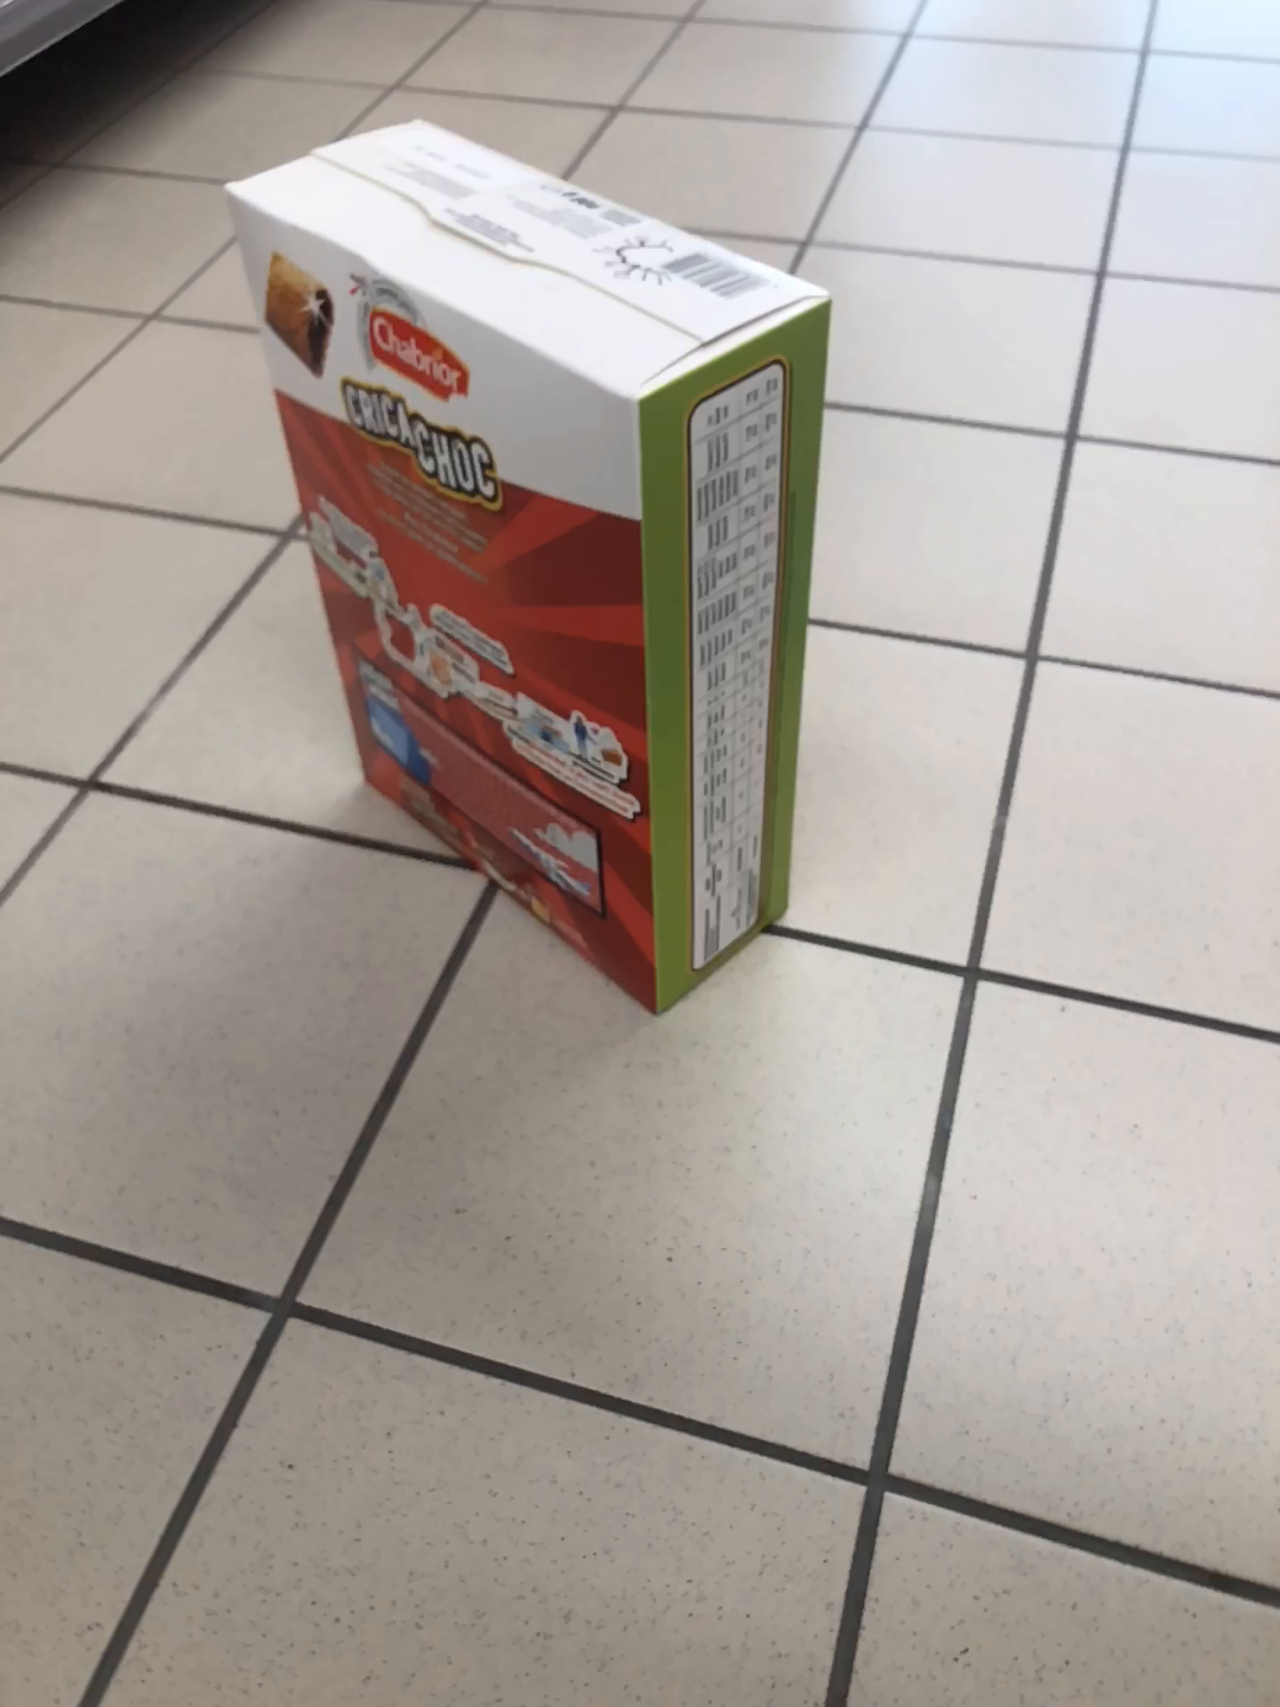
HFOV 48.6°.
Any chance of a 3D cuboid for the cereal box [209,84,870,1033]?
[{"bbox_3d":[-0.032,-0.096,0.508,0.080,0.268,0.200,-36,55,-27],"label":"cereal box"}]
